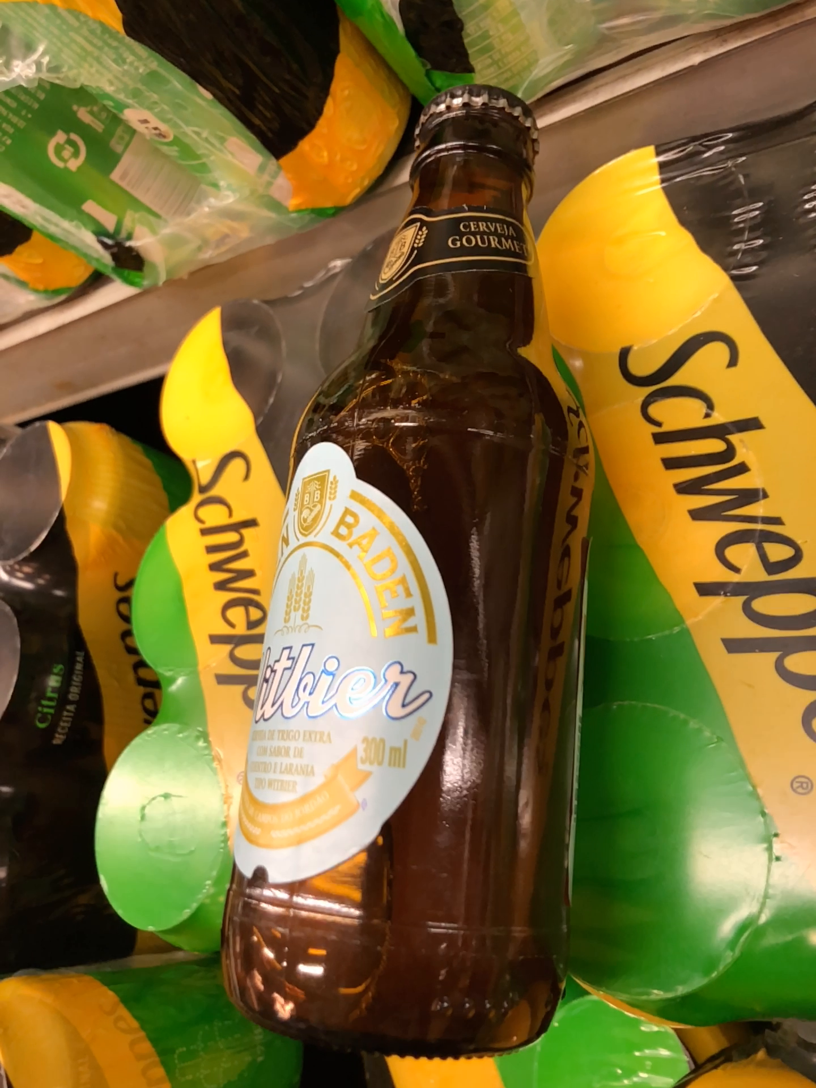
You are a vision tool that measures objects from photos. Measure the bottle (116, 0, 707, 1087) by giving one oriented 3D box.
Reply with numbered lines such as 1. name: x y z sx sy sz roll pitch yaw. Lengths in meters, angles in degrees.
1. bottle: 0.008 -0.021 0.169 0.070 0.060 0.200 -3 75 36
